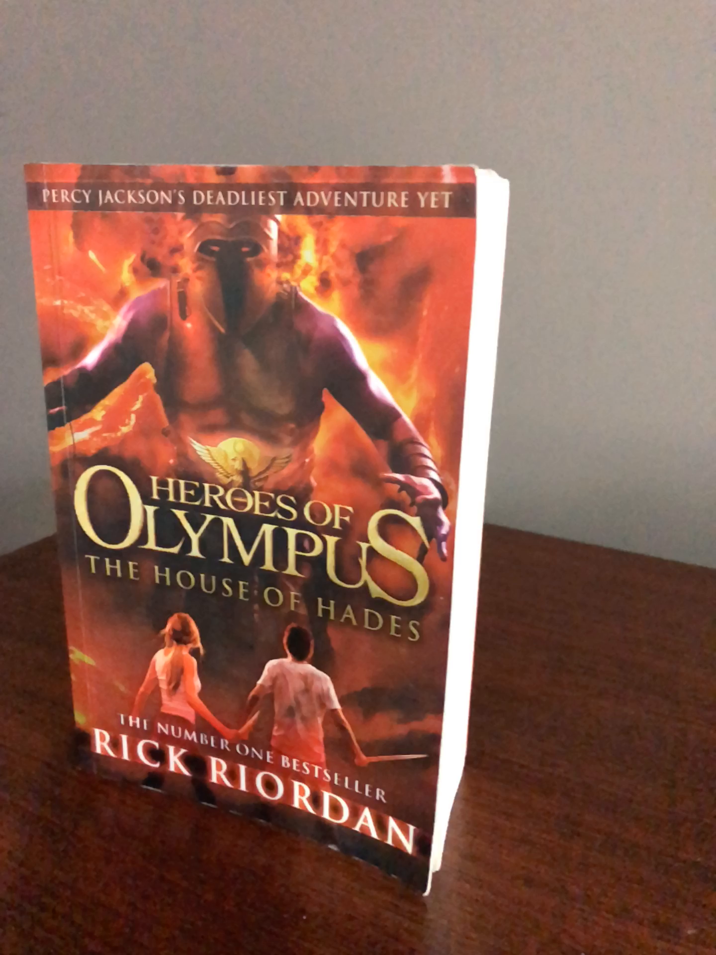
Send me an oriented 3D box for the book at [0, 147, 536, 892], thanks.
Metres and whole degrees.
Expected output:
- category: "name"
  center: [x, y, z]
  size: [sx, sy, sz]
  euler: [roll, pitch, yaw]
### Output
- category: "book"
  center: [-0.029, 0.007, 0.249]
  size: [0.140, 0.199, 0.060]
  euler: [8, 19, 18]
